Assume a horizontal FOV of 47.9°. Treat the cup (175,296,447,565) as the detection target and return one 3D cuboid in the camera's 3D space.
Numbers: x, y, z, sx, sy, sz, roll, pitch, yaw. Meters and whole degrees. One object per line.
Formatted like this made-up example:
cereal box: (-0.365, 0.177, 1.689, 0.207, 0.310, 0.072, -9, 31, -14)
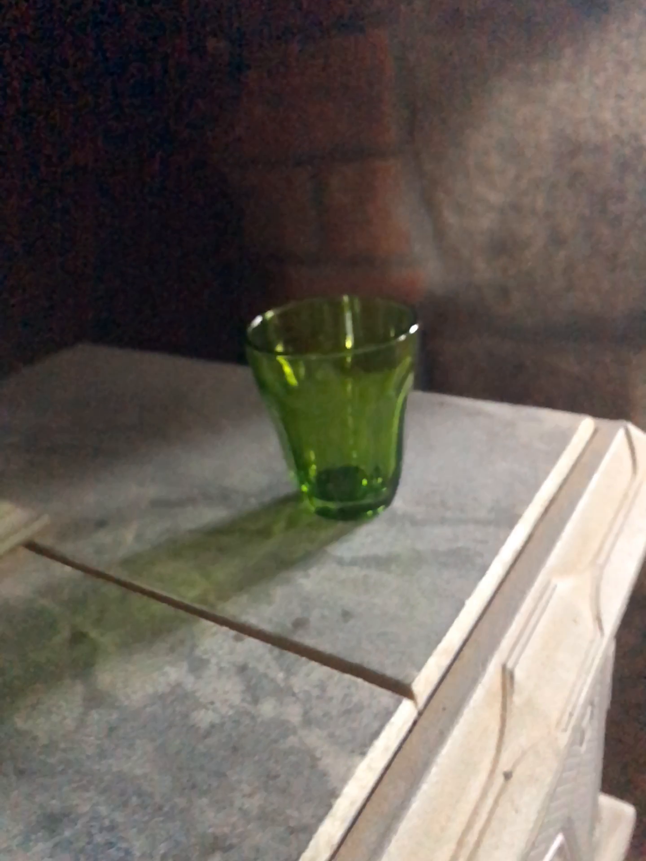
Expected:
cup: (0.000, -0.006, 0.320, 0.080, 0.080, 0.080, -6, 27, 3)
